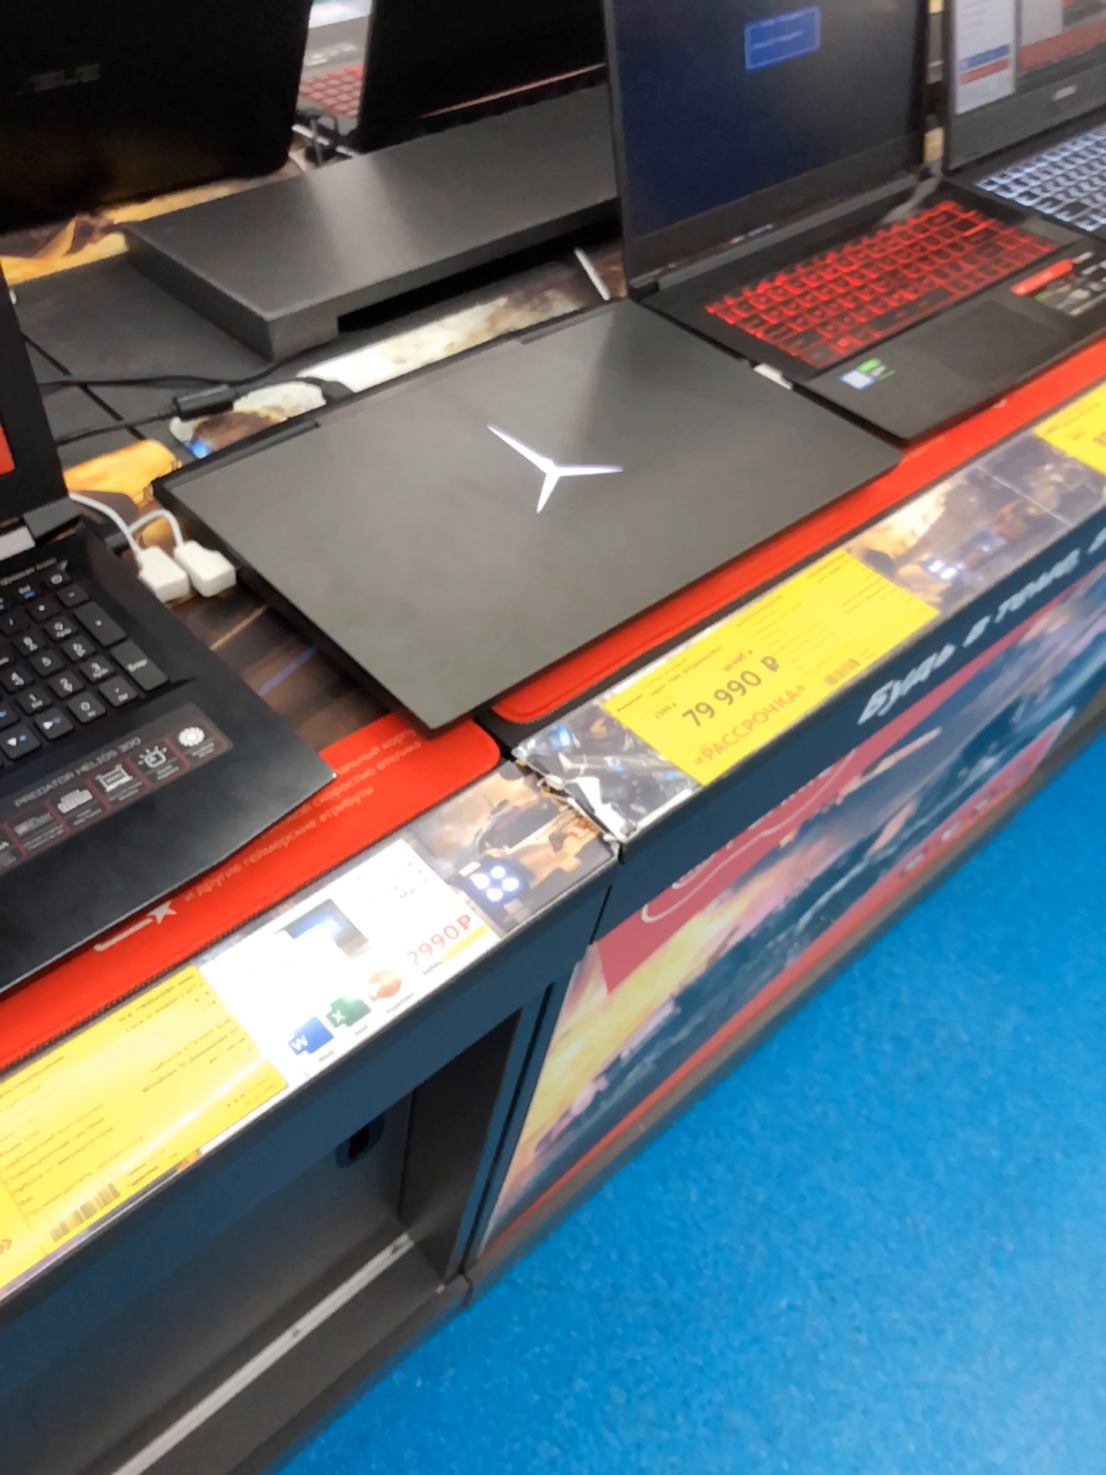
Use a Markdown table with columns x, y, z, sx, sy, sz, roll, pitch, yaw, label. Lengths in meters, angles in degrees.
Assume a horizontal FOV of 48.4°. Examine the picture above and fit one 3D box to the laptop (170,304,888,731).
| x | y | z | sx | sy | sz | roll | pitch | yaw | label |
| --- | --- | --- | --- | --- | --- | --- | --- | --- | --- |
| -0.006 | -0.150 | 0.707 | 0.344 | 0.007 | 0.227 | -33 | 56 | -28 | laptop |
